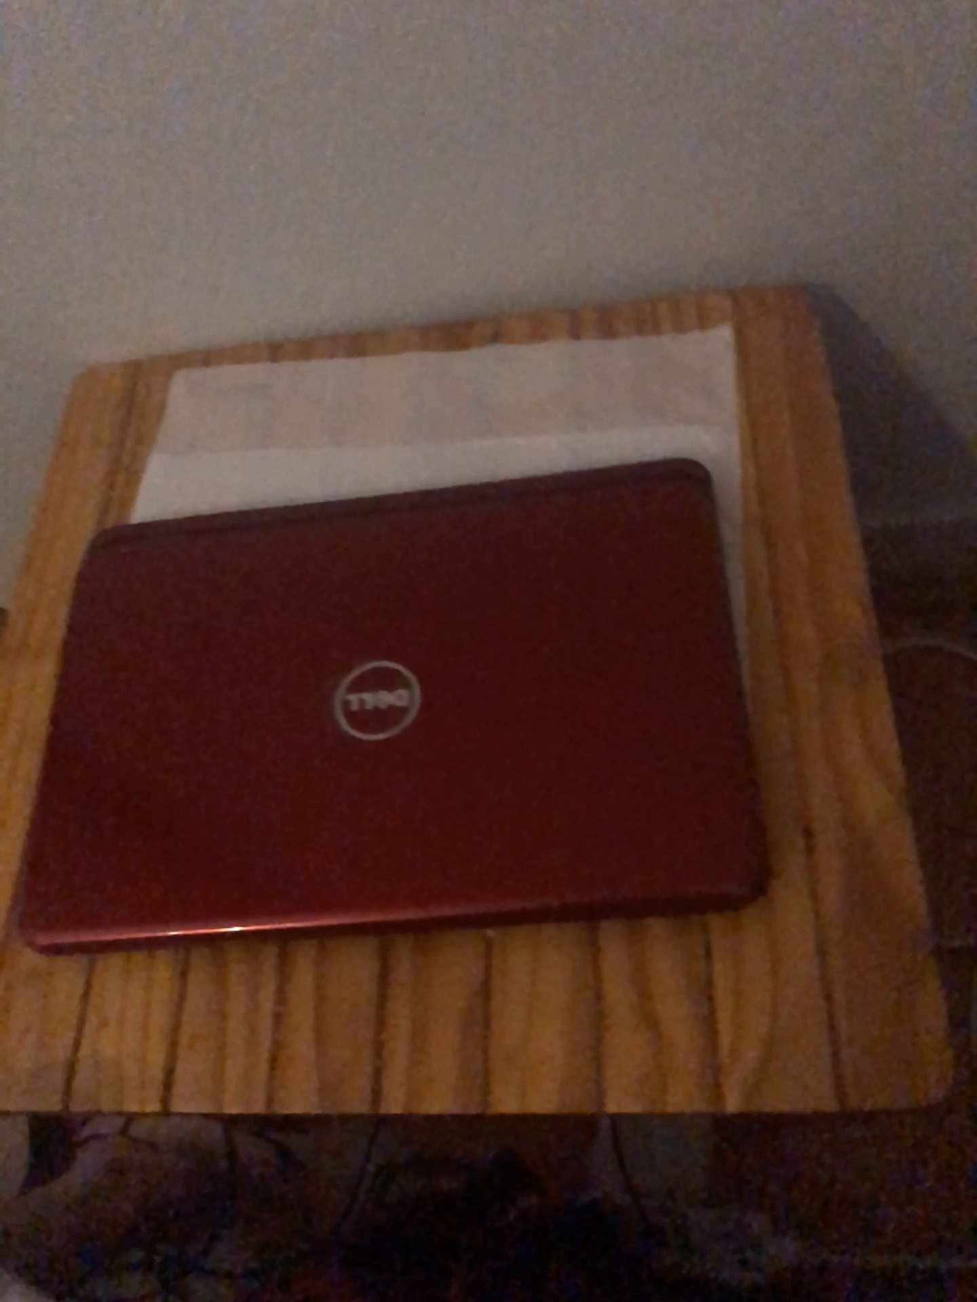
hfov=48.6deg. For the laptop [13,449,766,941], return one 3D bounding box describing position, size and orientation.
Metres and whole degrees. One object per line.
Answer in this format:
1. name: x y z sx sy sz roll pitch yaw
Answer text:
1. laptop: -0.058 0.017 0.573 0.365 0.011 0.247 -6 62 8
